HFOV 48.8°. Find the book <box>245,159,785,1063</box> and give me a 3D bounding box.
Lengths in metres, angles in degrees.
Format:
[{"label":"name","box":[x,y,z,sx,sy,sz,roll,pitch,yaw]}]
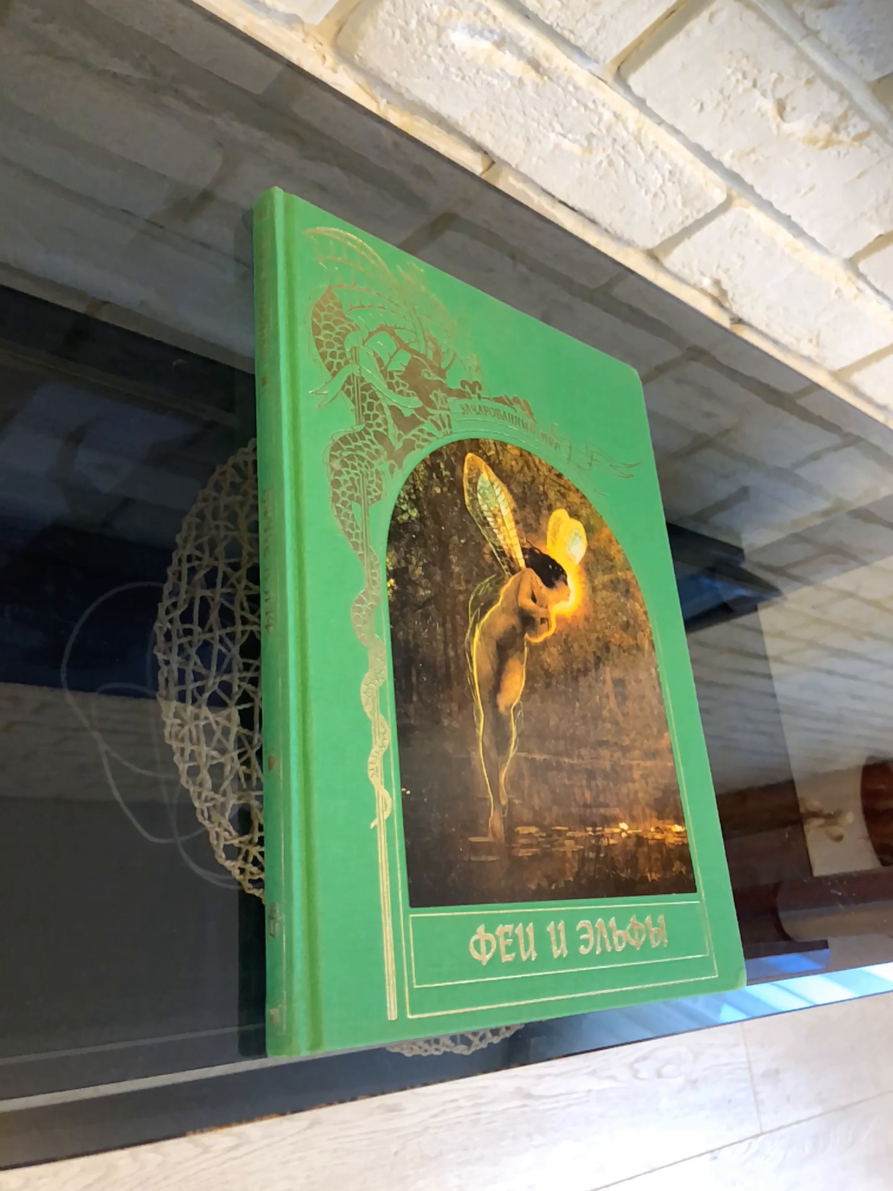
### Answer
[{"label":"book","box":[0.028,0.004,0.375,0.218,0.030,0.291,14,61,-40]}]
